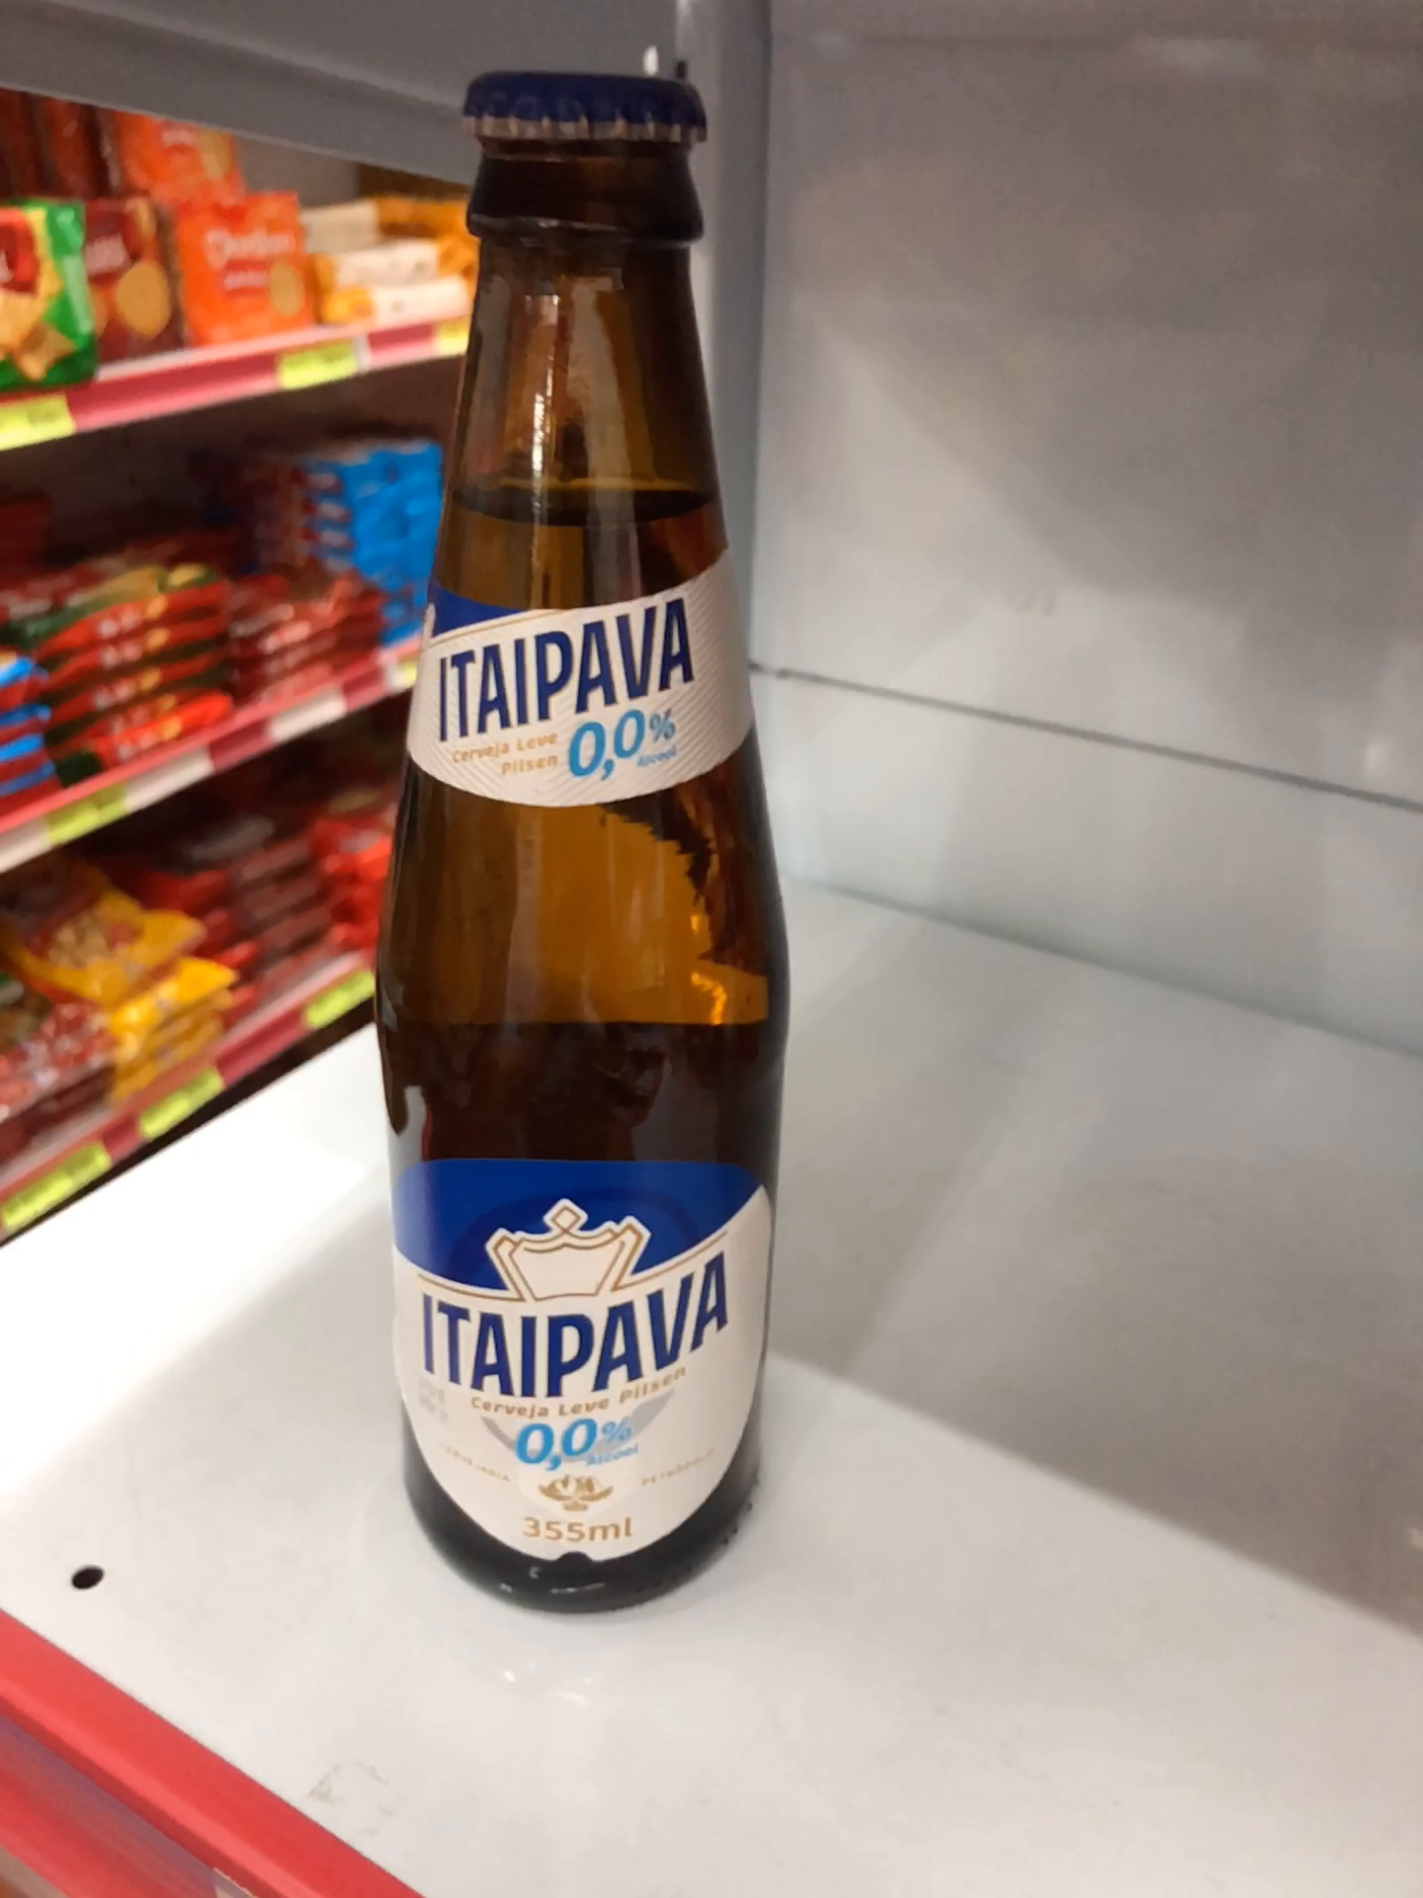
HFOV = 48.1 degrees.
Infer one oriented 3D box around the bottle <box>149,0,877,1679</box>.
[{"bbox_3d":[-0.016,-0.004,0.206,0.060,0.208,0.060,1,28,0],"label":"bottle"}]
